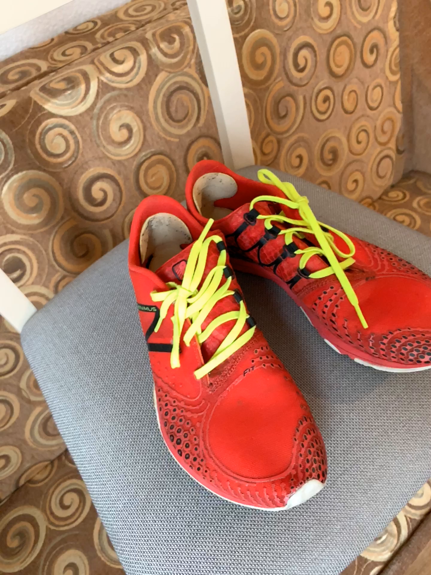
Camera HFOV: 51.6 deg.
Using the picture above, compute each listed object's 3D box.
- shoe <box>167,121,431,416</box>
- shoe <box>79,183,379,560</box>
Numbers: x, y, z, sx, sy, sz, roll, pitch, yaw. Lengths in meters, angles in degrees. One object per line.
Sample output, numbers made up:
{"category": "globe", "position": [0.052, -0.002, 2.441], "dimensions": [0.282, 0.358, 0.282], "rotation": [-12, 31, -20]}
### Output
{"category": "shoe", "position": [0.093, -0.030, 0.389], "dimensions": [0.261, 0.090, 0.110], "rotation": [37, 68, 26]}
{"category": "shoe", "position": [-0.007, 0.049, 0.355], "dimensions": [0.110, 0.090, 0.261], "rotation": [-24, 57, -9]}
